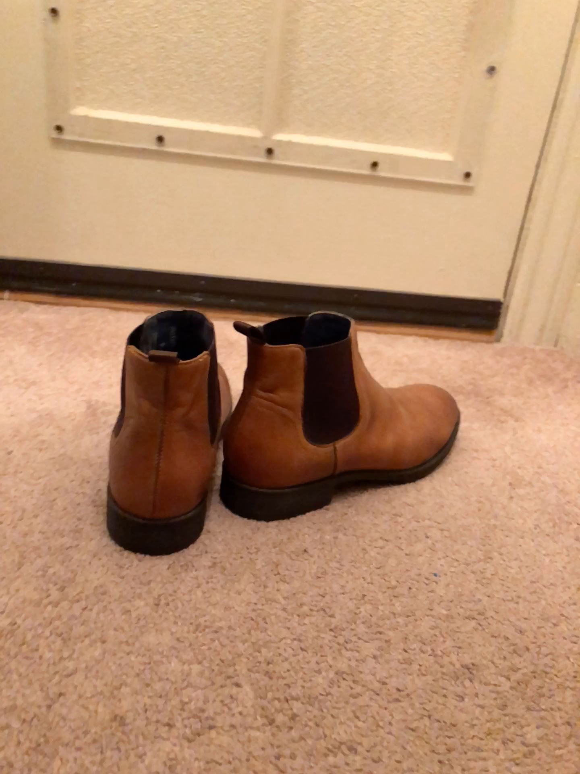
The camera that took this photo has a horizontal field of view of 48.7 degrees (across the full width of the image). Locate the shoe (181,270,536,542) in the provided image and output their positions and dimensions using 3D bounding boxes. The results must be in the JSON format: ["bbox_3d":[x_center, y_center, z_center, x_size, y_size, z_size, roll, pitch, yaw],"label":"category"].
[{"bbox_3d":[0.069,-0.003,0.589,0.313,0.165,0.109,-12,30,-37],"label":"shoe"}]

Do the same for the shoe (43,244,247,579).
[{"bbox_3d":[-0.108,-0.006,0.570,0.109,0.165,0.314,6,24,-3],"label":"shoe"}]
